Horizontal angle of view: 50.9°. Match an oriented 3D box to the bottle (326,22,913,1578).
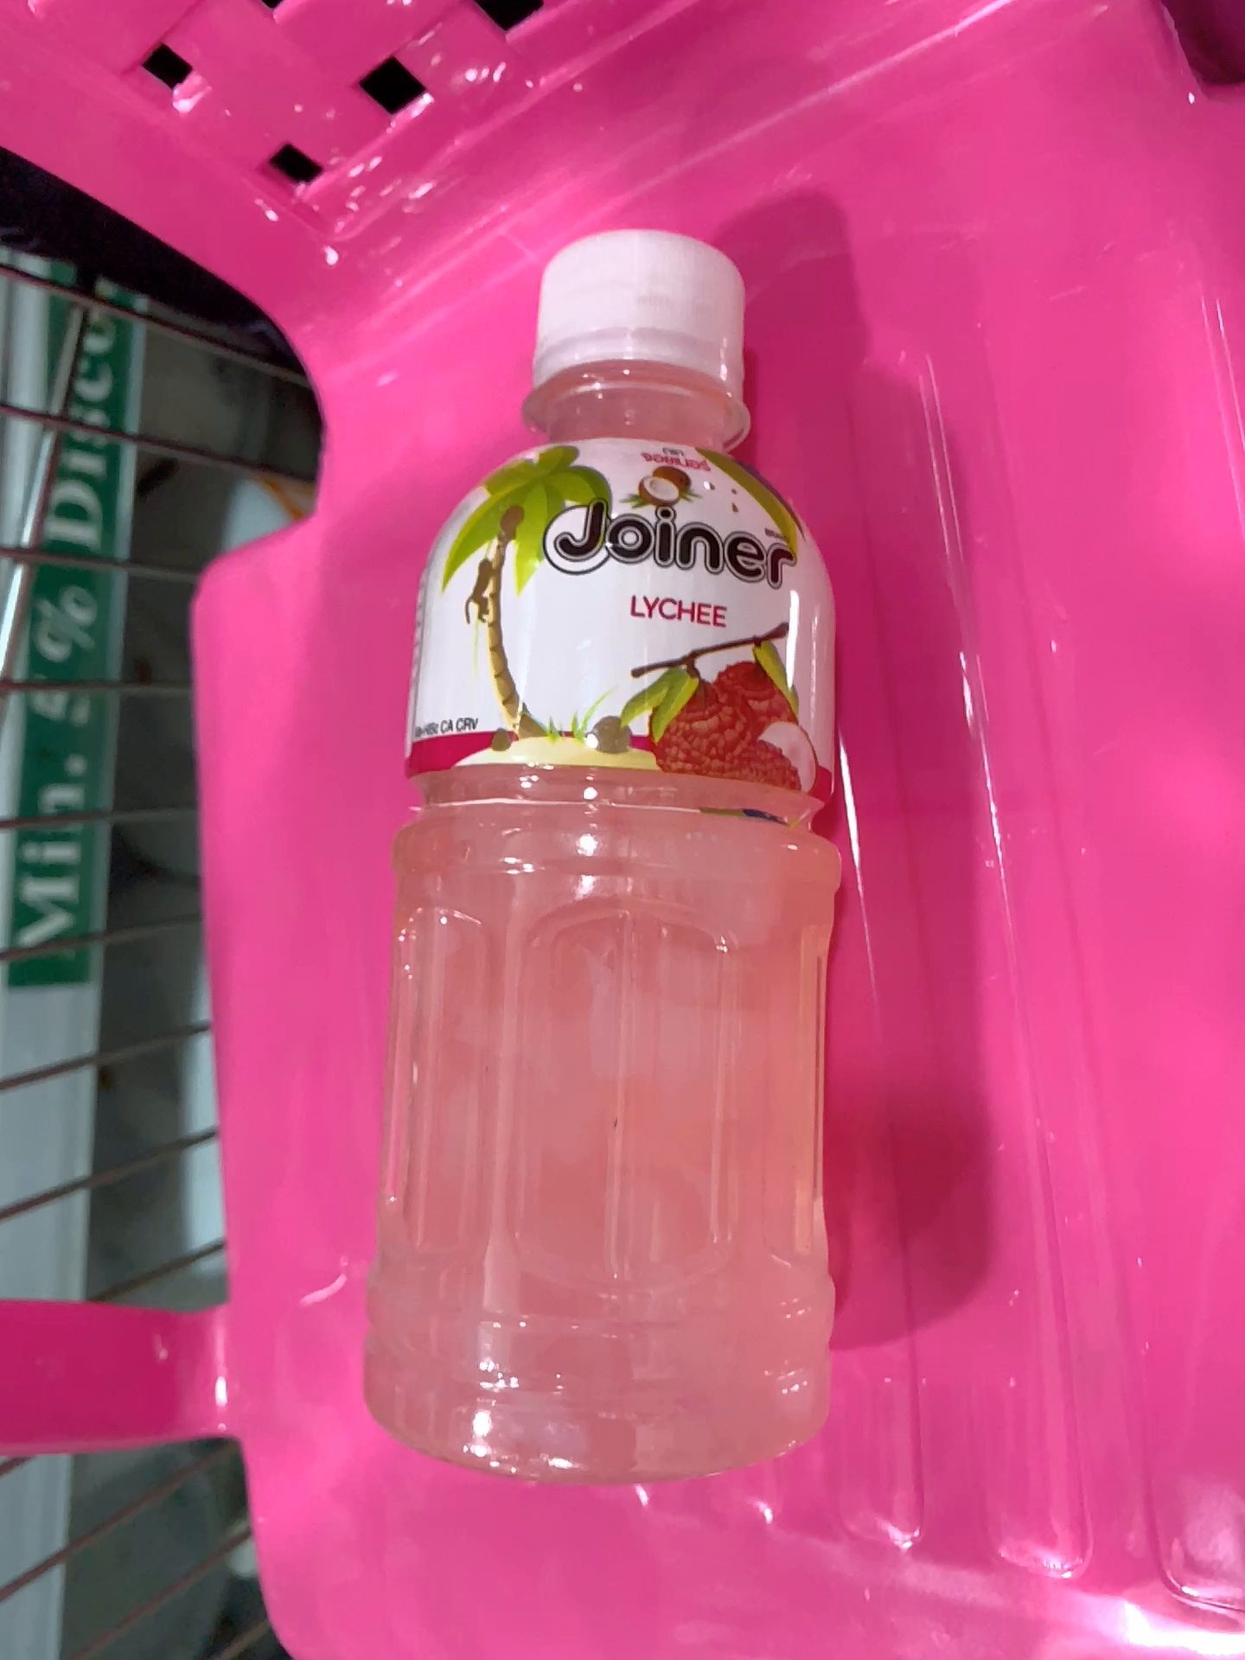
[{"bbox_3d":[-0.005,-0.004,0.181,0.060,0.060,0.170,169,101,-67],"label":"bottle"}]
